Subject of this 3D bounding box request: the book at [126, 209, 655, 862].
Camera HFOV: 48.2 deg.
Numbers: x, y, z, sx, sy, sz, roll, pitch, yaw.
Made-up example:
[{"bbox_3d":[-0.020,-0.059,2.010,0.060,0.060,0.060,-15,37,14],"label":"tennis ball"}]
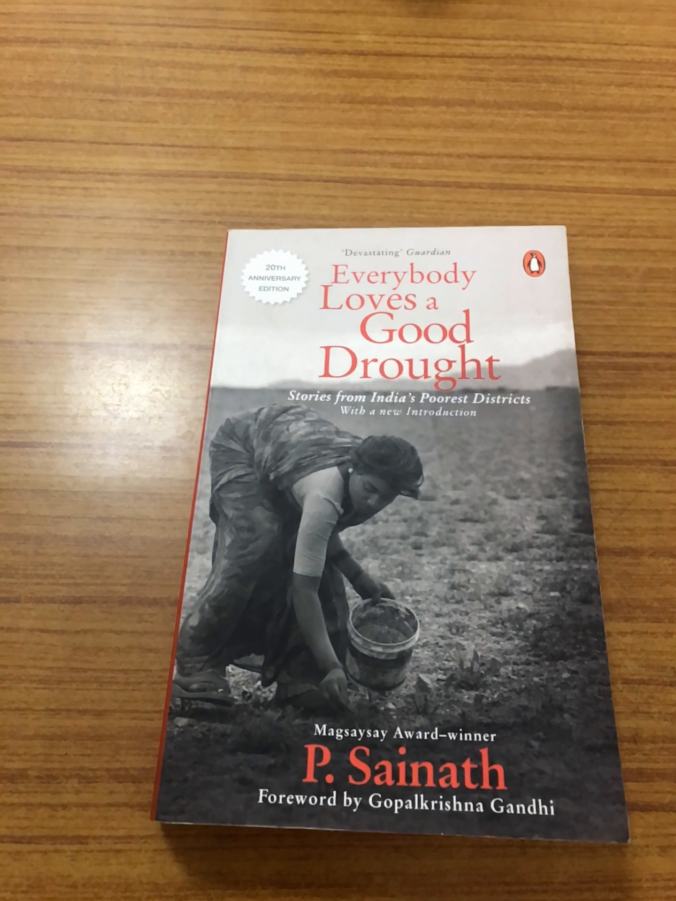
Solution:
[{"bbox_3d":[0.018,0.017,0.260,0.140,0.040,0.210,3,66,0],"label":"book"}]
